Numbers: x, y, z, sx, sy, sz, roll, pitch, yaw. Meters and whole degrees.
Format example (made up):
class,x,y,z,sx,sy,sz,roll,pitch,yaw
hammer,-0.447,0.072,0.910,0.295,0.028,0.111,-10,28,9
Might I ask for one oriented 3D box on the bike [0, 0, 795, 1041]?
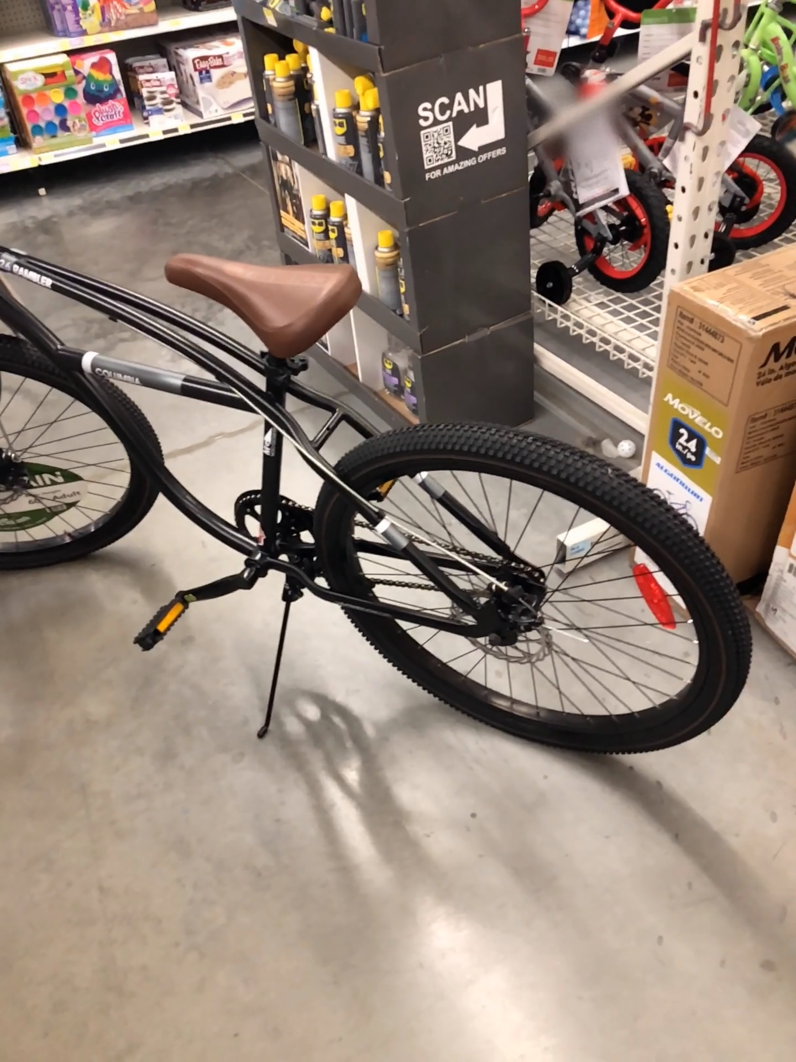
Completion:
class,x,y,z,sx,sy,sz,roll,pitch,yaw
bike,-0.360,-0.136,1.156,1.584,0.975,0.655,14,44,15
